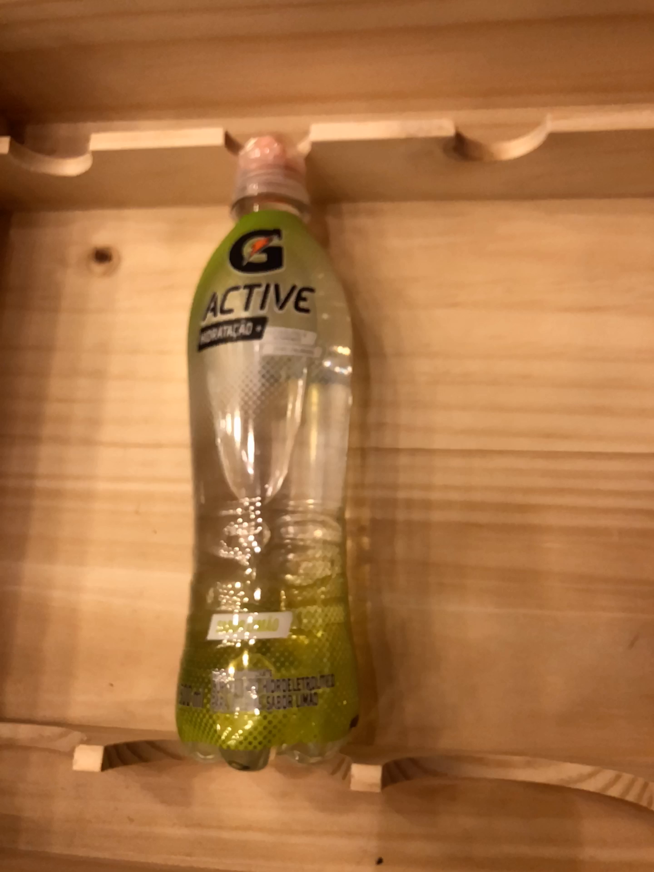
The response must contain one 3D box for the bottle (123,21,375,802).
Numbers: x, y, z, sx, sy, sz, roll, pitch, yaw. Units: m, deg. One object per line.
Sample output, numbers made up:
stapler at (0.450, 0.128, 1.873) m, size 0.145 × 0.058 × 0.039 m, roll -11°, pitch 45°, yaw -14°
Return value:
bottle at (-0.021, -0.017, 0.280) m, size 0.070 × 0.070 × 0.270 m, roll -2°, pitch 74°, yaw 6°
